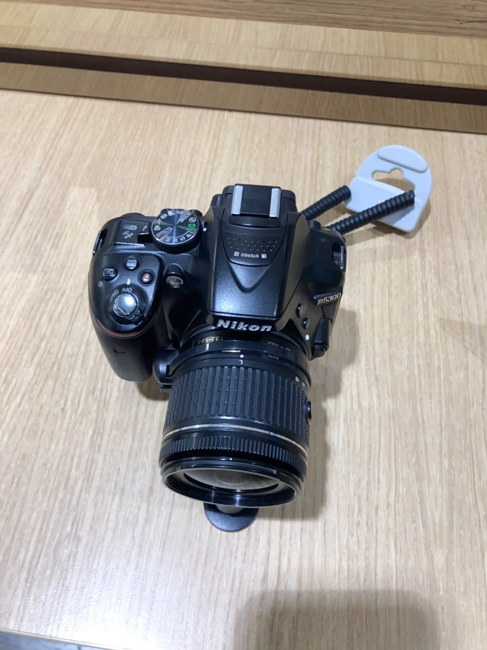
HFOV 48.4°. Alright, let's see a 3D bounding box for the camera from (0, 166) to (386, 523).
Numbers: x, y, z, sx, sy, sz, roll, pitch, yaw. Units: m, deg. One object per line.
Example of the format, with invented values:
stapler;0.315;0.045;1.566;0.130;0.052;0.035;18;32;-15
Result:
camera;-0.013;0.012;0.236;0.120;0.102;0.111;4;58;3
